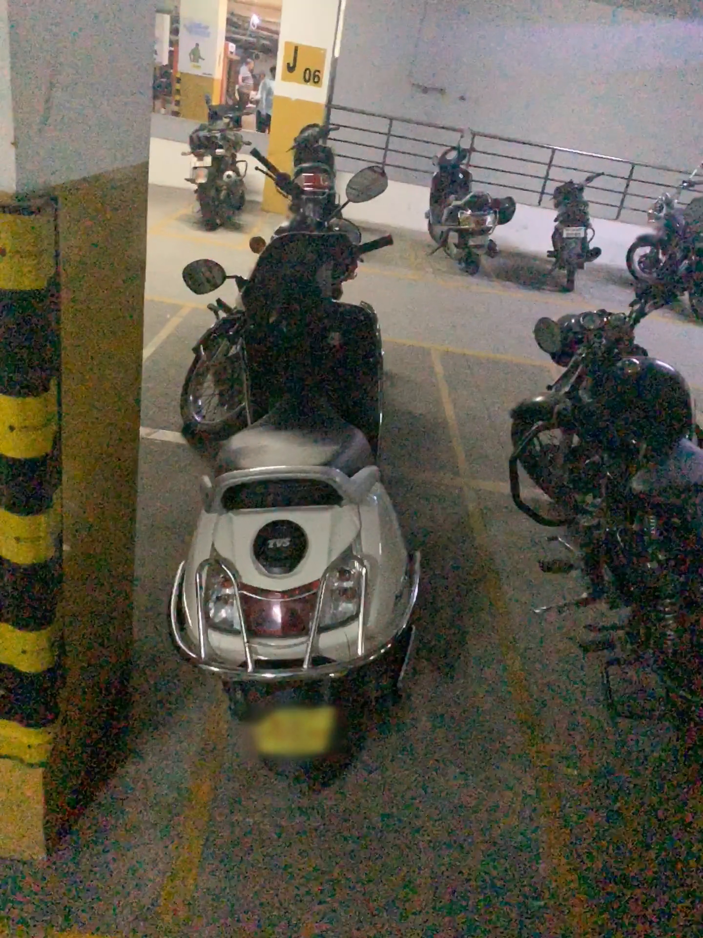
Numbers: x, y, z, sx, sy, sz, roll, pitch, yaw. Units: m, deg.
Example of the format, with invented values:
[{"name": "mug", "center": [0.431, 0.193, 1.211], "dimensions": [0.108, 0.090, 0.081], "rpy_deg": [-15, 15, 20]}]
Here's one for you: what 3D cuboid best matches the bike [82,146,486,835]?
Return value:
[{"name": "bike", "center": [-0.204, -0.117, 2.043], "dimensions": [0.647, 1.159, 1.539], "rpy_deg": [8, 30, -5]}]
